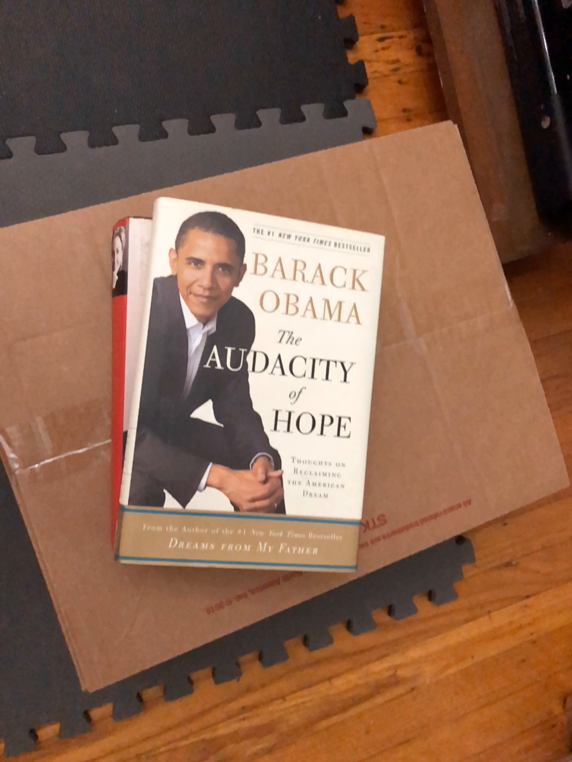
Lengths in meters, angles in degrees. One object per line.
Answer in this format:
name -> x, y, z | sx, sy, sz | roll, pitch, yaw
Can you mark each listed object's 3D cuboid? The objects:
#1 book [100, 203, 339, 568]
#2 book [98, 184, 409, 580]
book -> -0.049, 0.003, 0.473 | 0.170, 0.040, 0.250 | 0, 87, -14
book -> -0.019, 0.006, 0.449 | 0.190, 0.040, 0.250 | 7, 86, -14
